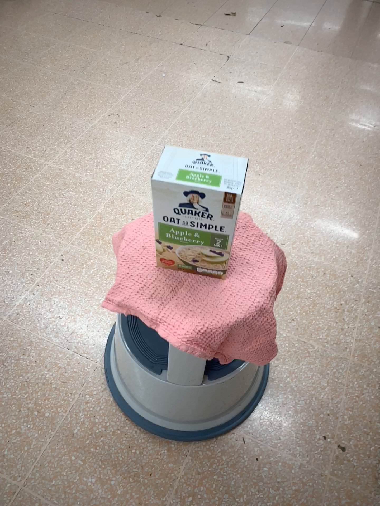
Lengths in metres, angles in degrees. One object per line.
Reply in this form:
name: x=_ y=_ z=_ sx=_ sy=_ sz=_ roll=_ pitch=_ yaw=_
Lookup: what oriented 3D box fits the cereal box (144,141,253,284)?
cereal box: x=0.011 y=-0.058 z=0.631 sx=0.140 sy=0.208 sz=0.091 roll=11 pitch=52 yaw=6
